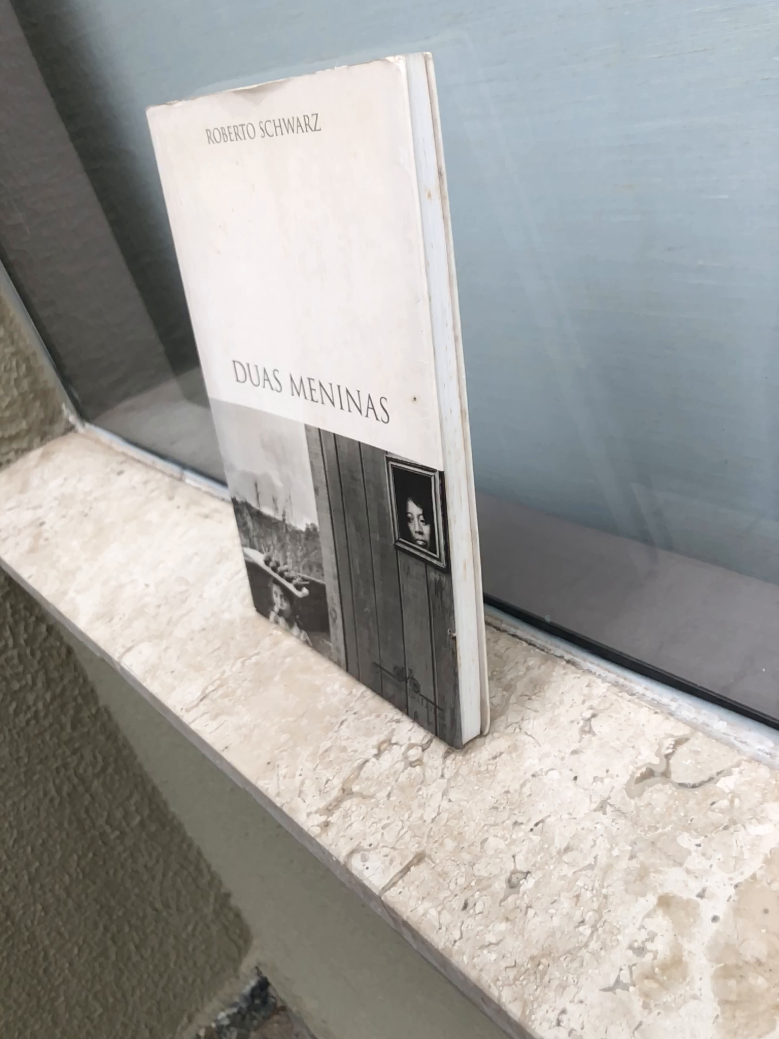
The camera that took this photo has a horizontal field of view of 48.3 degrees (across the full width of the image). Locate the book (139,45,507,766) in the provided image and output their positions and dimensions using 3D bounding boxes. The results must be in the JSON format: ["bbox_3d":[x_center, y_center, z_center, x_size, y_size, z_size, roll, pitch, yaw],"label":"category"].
[{"bbox_3d":[-0.024,-0.034,0.293,0.016,0.204,0.140,-24,29,-30],"label":"book"}]
